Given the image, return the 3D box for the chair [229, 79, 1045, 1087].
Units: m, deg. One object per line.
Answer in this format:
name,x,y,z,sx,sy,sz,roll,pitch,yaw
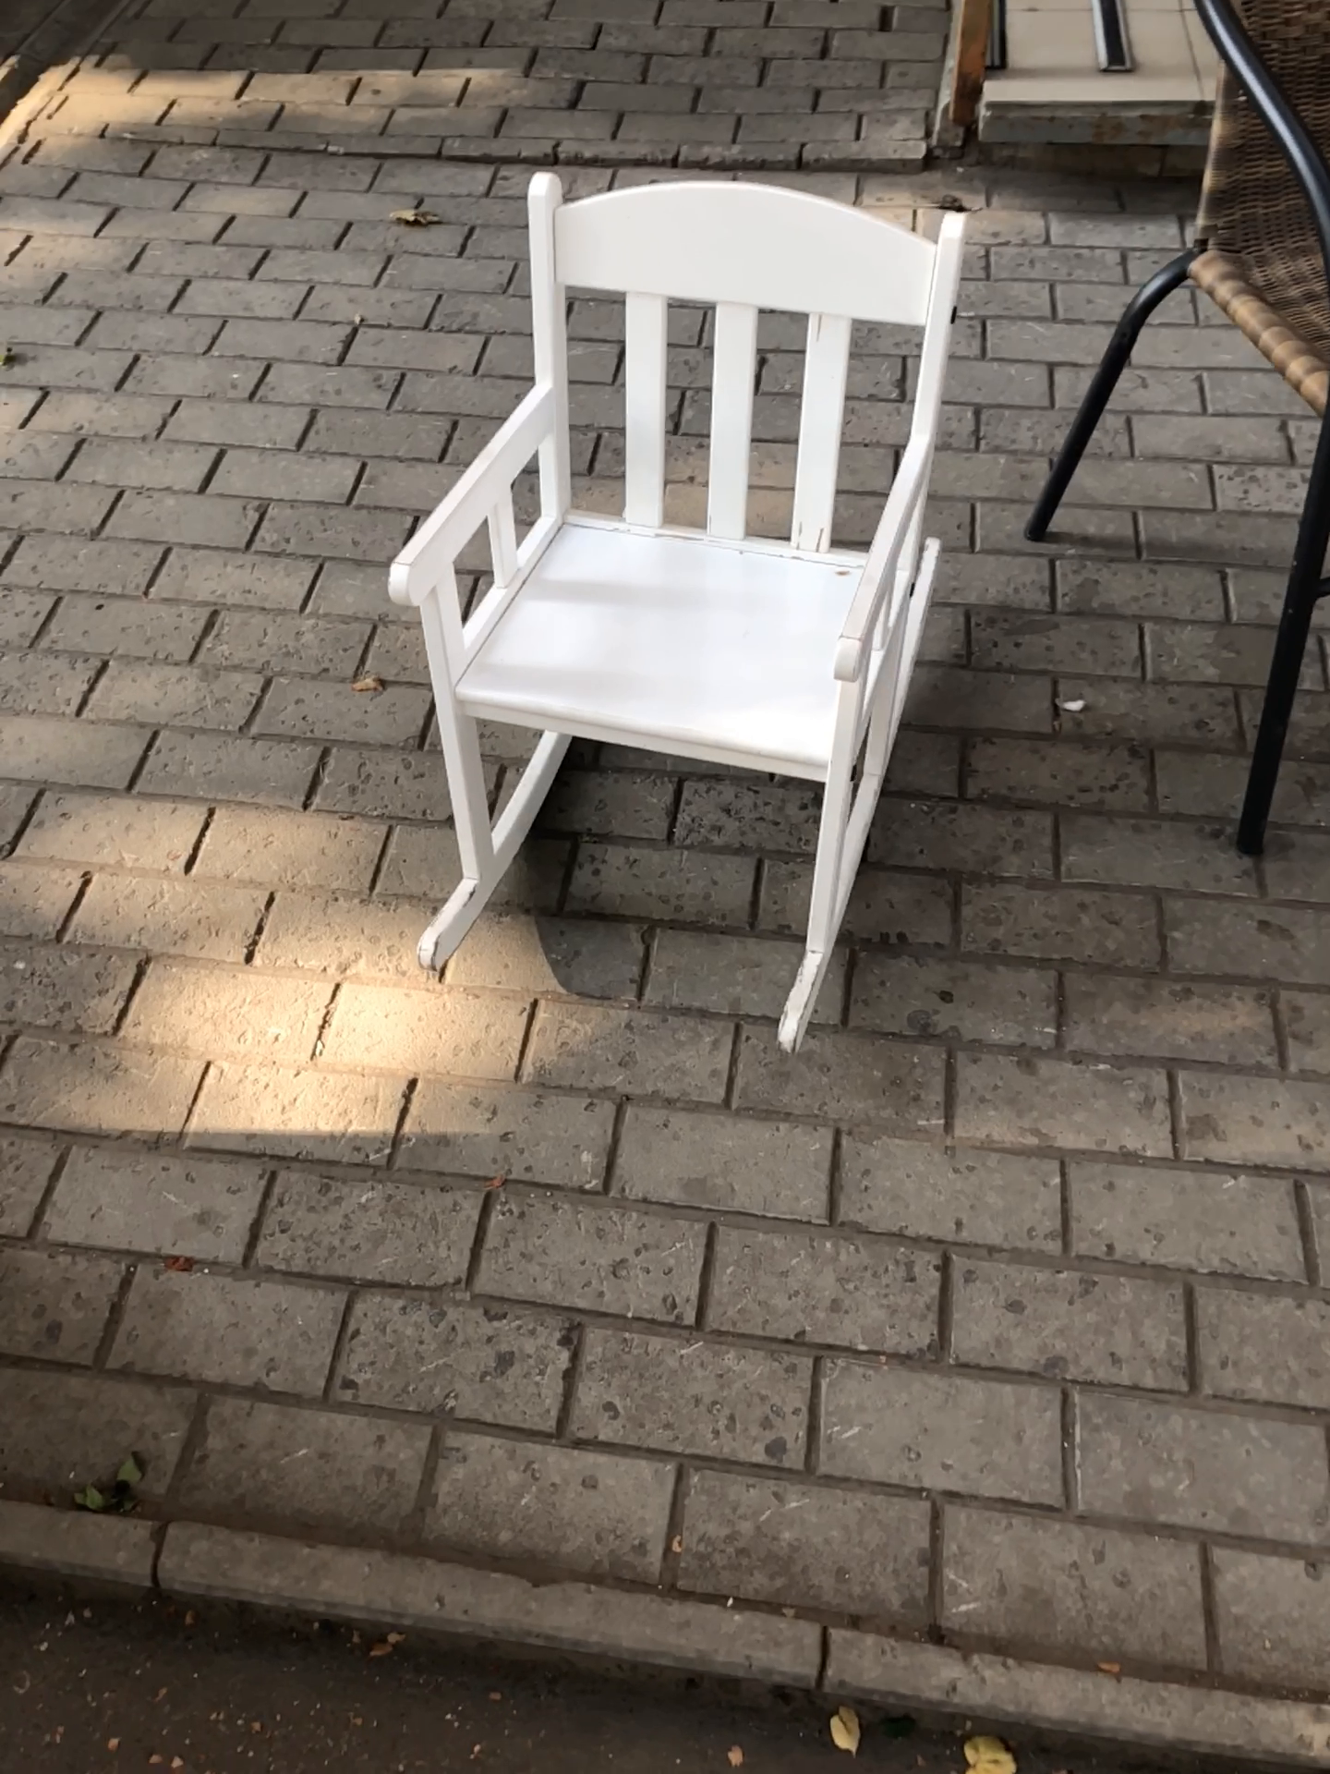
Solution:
chair,0.040,-0.302,1.293,0.440,0.458,0.753,10,52,11
